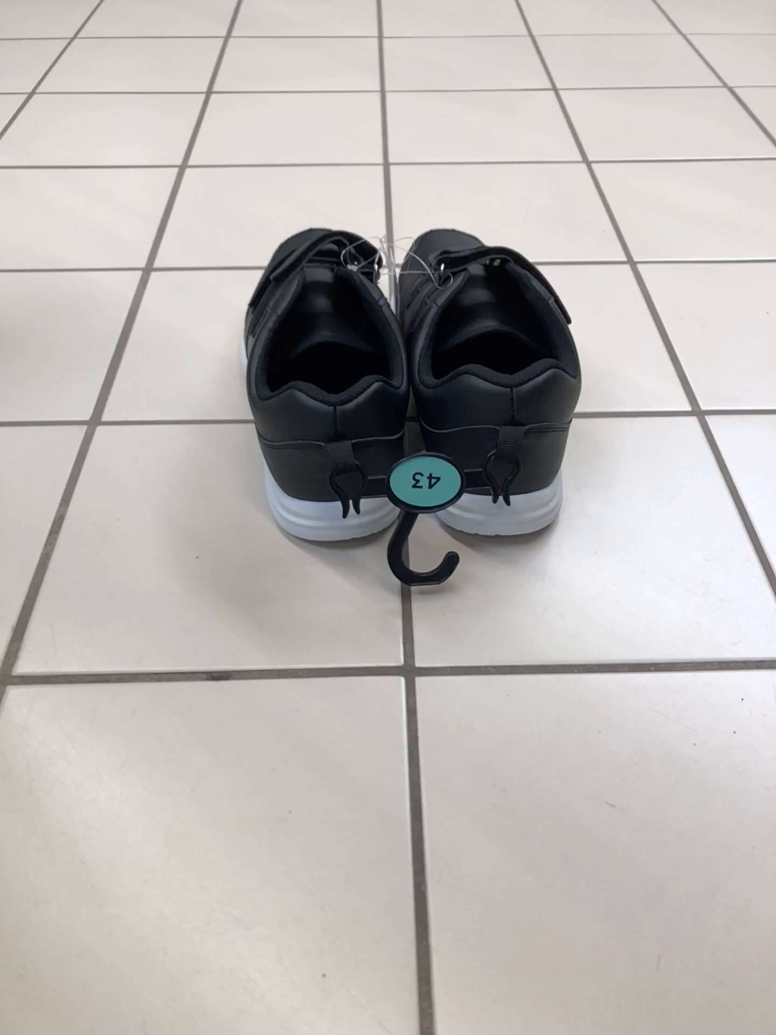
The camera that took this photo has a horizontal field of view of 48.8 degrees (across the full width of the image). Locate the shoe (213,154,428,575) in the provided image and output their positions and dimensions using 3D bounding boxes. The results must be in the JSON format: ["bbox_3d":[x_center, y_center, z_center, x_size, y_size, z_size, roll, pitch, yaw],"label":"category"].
[{"bbox_3d":[-0.048,-0.117,0.544,0.100,0.099,0.312,-5,45,-4],"label":"shoe"}]

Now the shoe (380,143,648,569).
[{"bbox_3d":[0.057,-0.120,0.534,0.100,0.099,0.312,-3,45,-3],"label":"shoe"}]
